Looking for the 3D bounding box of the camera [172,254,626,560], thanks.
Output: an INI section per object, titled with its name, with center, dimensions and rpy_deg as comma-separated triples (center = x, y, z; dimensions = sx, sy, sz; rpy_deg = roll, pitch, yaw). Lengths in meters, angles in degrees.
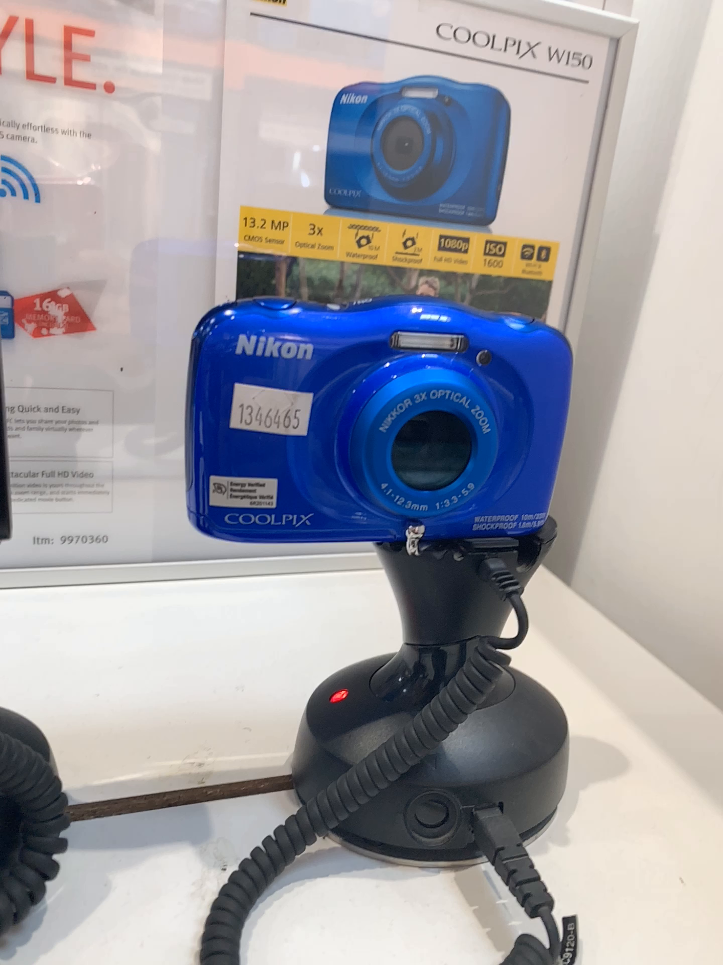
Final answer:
[camera]
center = 0.006, -0.020, 0.194
dimensions = 0.101, 0.063, 0.046
rpy_deg = 0, 18, -18
